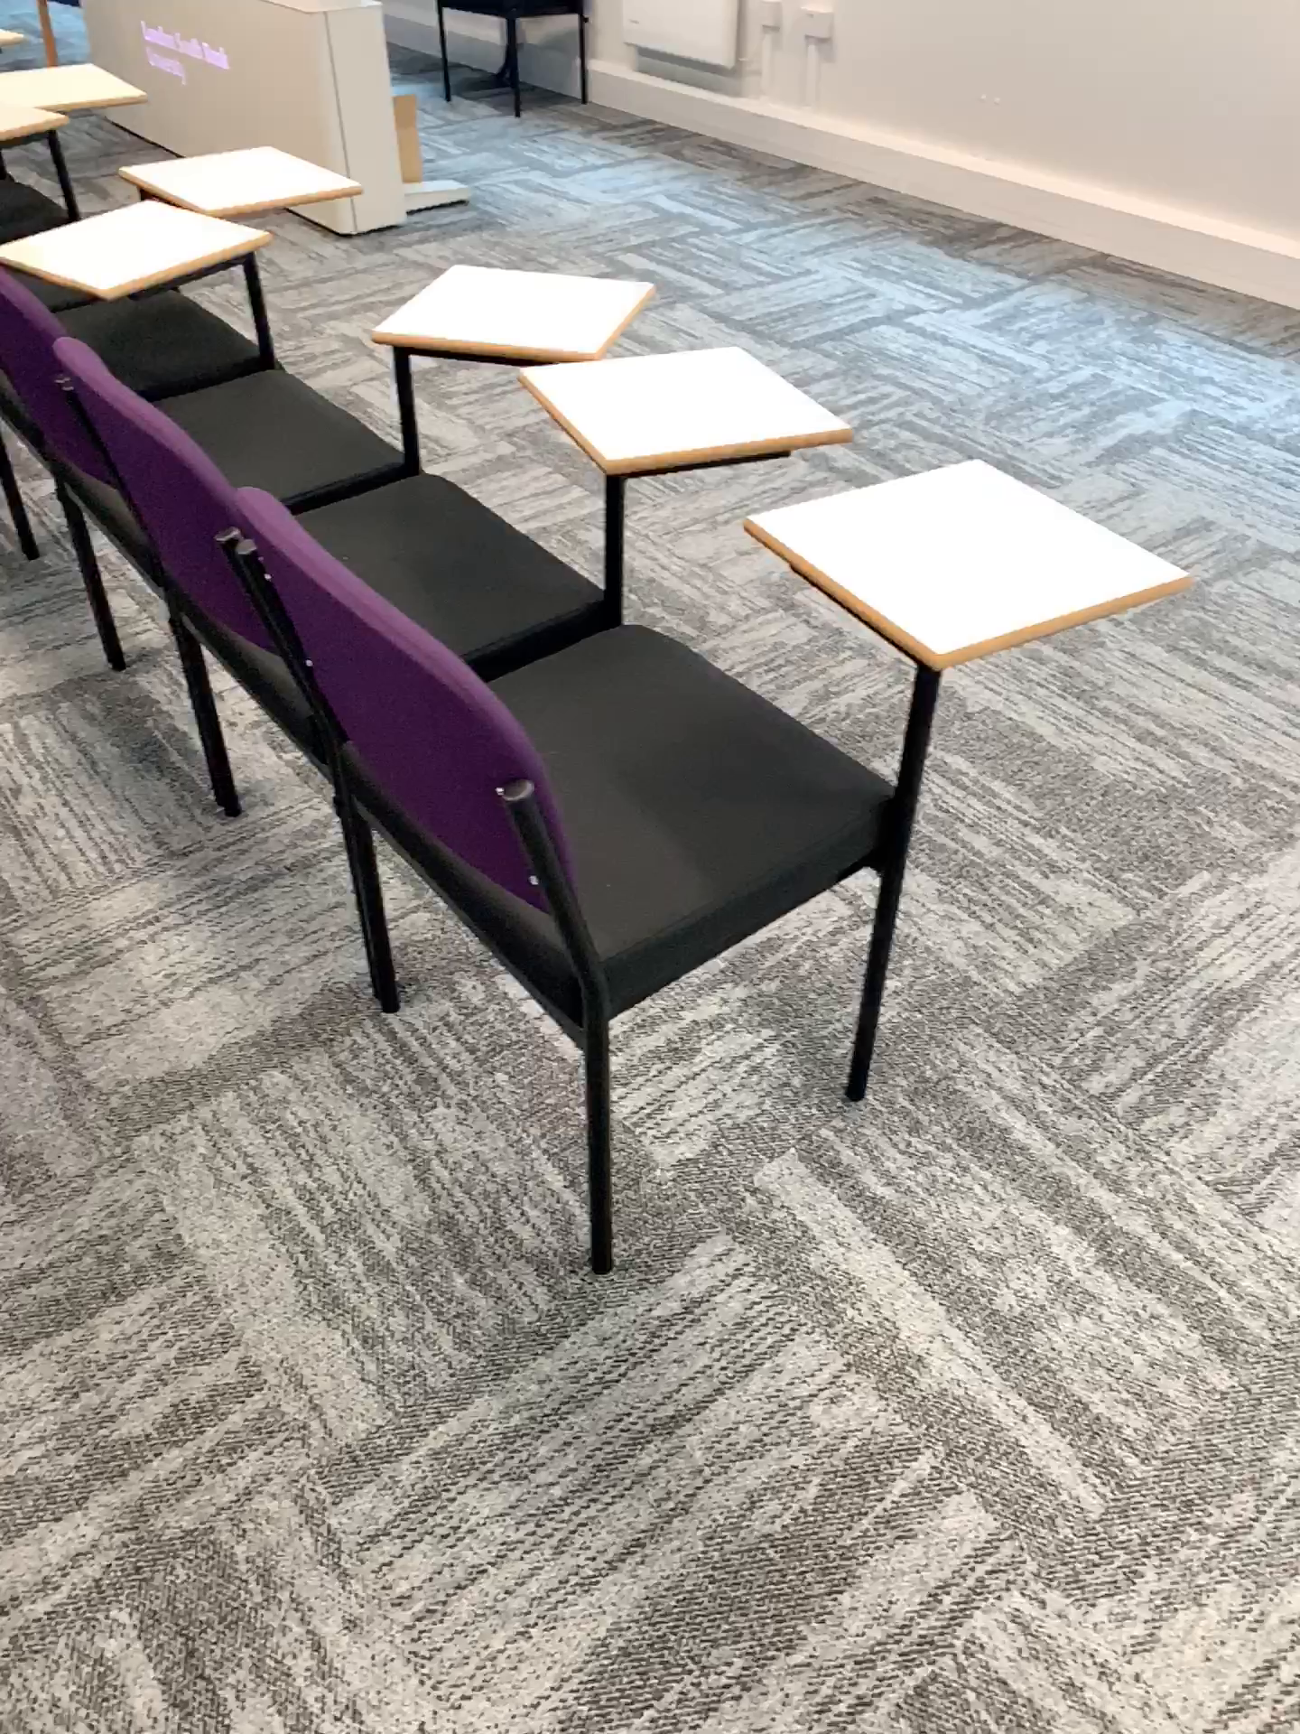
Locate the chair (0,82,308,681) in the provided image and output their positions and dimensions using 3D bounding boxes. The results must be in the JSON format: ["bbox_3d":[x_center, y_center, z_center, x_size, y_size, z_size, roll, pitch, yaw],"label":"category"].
[{"bbox_3d":[-1.020,-0.863,2.336,0.502,0.791,0.519,-27,47,-28],"label":"chair"}]

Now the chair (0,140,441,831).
[{"bbox_3d":[-0.704,-0.587,2.020,0.482,0.791,0.519,-27,47,-28],"label":"chair"}]

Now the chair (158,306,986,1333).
[{"bbox_3d":[-0.077,-0.055,1.387,0.502,0.801,0.519,-27,47,-28],"label":"chair"}]

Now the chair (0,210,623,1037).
[{"bbox_3d":[-0.392,-0.318,1.699,0.492,0.791,0.519,-27,47,-28],"label":"chair"}]
